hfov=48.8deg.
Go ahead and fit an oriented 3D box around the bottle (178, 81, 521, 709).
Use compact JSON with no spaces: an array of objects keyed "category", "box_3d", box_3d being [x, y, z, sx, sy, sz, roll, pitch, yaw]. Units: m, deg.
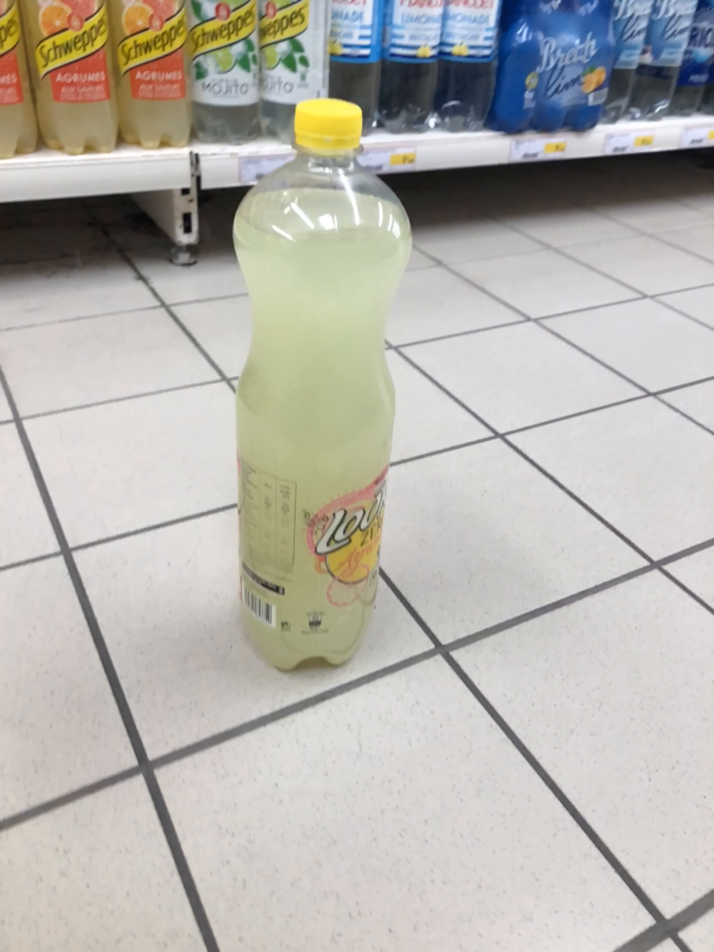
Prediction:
[{"category":"bottle","box_3d":[-0.010,-0.035,0.420,0.100,0.298,0.111,27,40,30]}]
